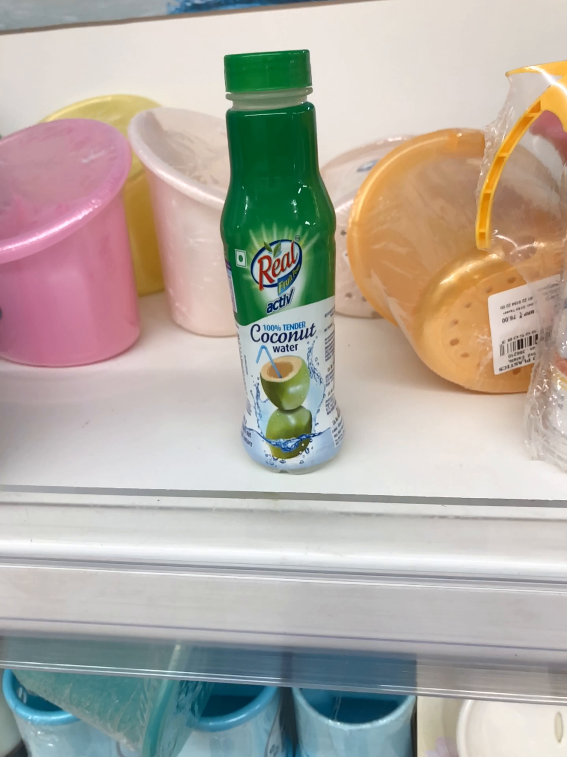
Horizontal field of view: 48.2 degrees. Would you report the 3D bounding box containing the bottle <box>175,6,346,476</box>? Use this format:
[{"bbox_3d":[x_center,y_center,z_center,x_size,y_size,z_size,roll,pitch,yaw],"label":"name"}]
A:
[{"bbox_3d":[-0.004,-0.049,0.263,0.050,0.179,0.050,-3,29,2],"label":"bottle"}]
